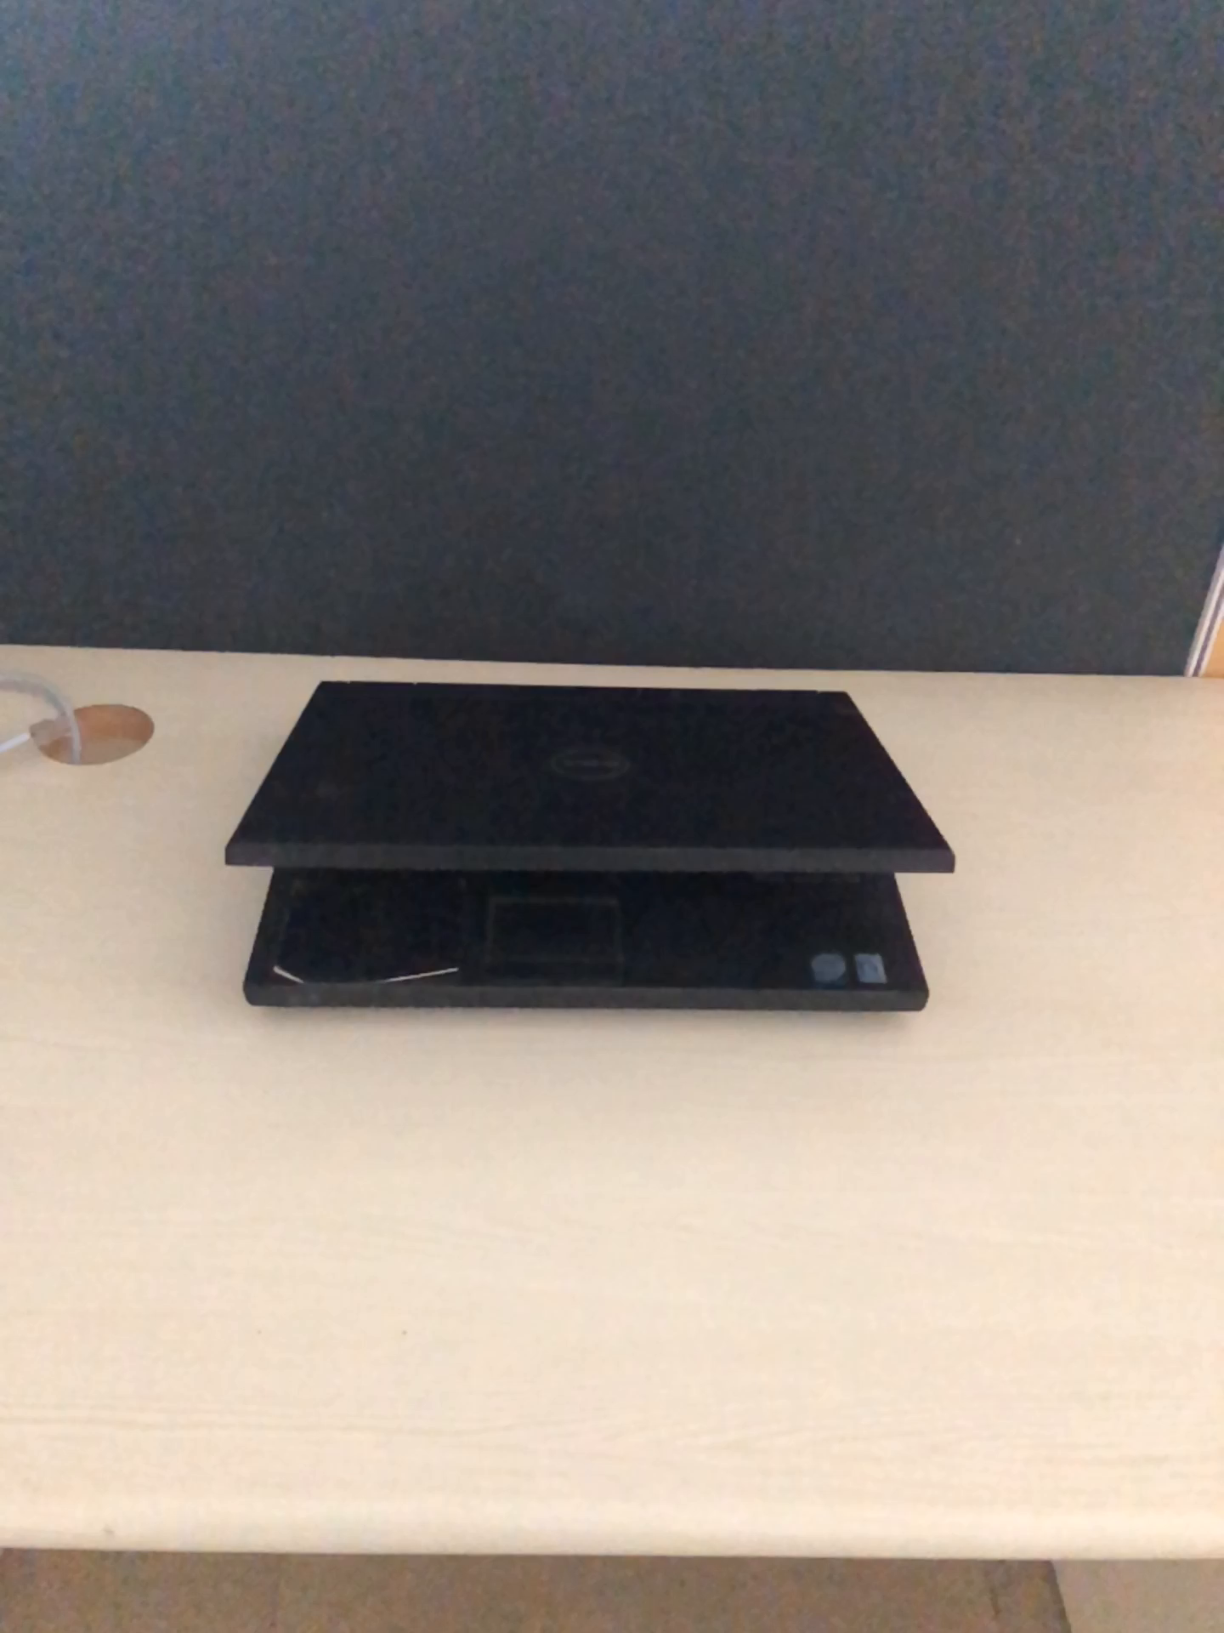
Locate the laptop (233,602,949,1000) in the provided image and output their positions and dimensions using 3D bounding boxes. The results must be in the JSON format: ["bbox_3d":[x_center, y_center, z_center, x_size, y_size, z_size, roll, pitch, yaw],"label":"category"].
[{"bbox_3d":[-0.010,-0.017,0.678,0.302,0.064,0.231,1,39,-2],"label":"laptop"}]
